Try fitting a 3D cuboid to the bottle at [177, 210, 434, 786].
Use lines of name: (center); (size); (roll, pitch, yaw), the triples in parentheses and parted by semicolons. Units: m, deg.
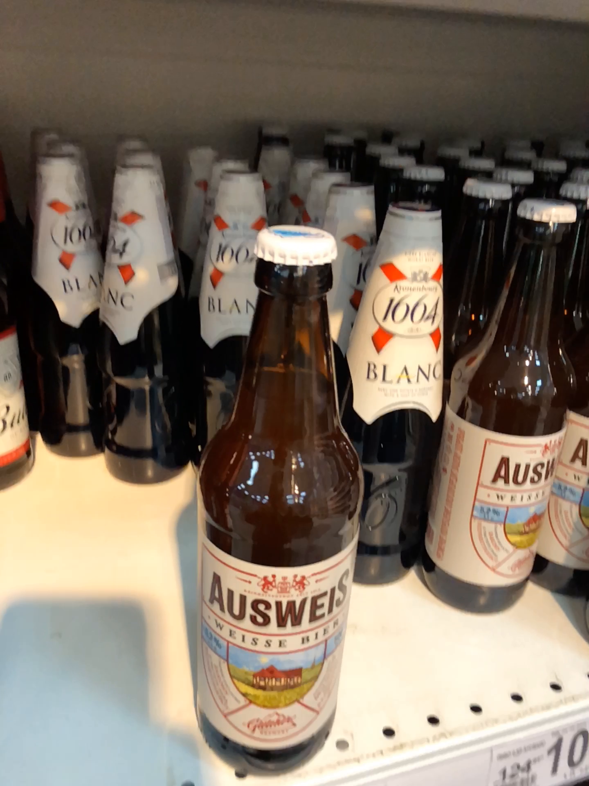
bottle: (-0.005, 0.055, 0.284); (0.080, 0.249, 0.070); (0, 25, -6)
